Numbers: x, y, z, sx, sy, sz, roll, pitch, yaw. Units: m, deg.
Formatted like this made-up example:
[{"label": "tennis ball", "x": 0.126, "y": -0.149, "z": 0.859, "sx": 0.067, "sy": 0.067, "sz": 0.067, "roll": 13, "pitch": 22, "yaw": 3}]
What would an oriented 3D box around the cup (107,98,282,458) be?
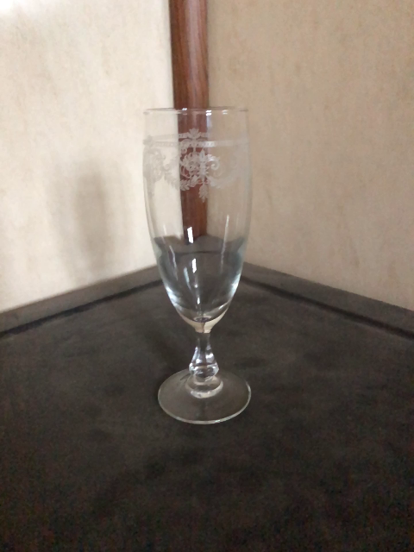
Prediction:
[{"label": "cup", "x": 0.000, "y": -0.001, "z": 0.242, "sx": 0.060, "sy": 0.169, "sz": 0.060, "roll": -2, "pitch": 20, "yaw": 1}]
